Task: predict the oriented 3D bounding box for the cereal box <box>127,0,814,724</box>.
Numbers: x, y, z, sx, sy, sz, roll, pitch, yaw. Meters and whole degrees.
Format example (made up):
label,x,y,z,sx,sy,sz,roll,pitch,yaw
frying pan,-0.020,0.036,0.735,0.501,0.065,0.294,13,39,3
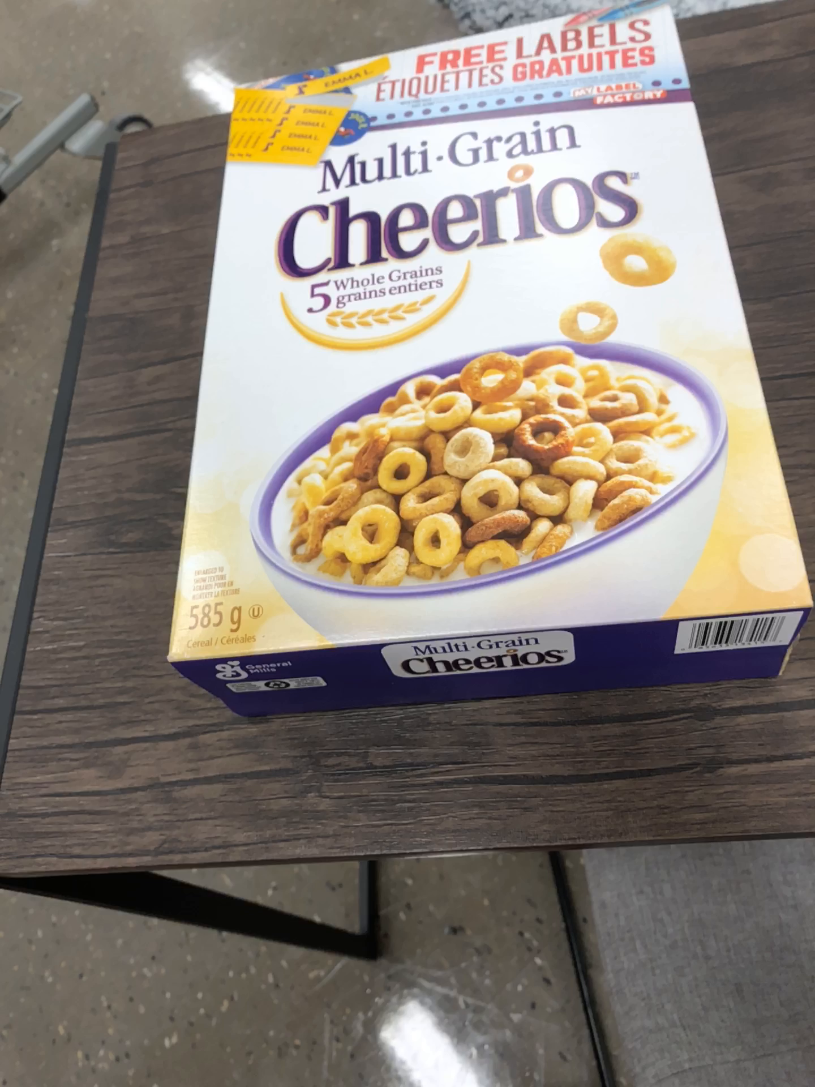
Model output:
label,x,y,z,sx,sy,sz,roll,pitch,yaw
cereal box,0.028,-0.099,0.422,0.250,0.070,0.340,-6,60,11
